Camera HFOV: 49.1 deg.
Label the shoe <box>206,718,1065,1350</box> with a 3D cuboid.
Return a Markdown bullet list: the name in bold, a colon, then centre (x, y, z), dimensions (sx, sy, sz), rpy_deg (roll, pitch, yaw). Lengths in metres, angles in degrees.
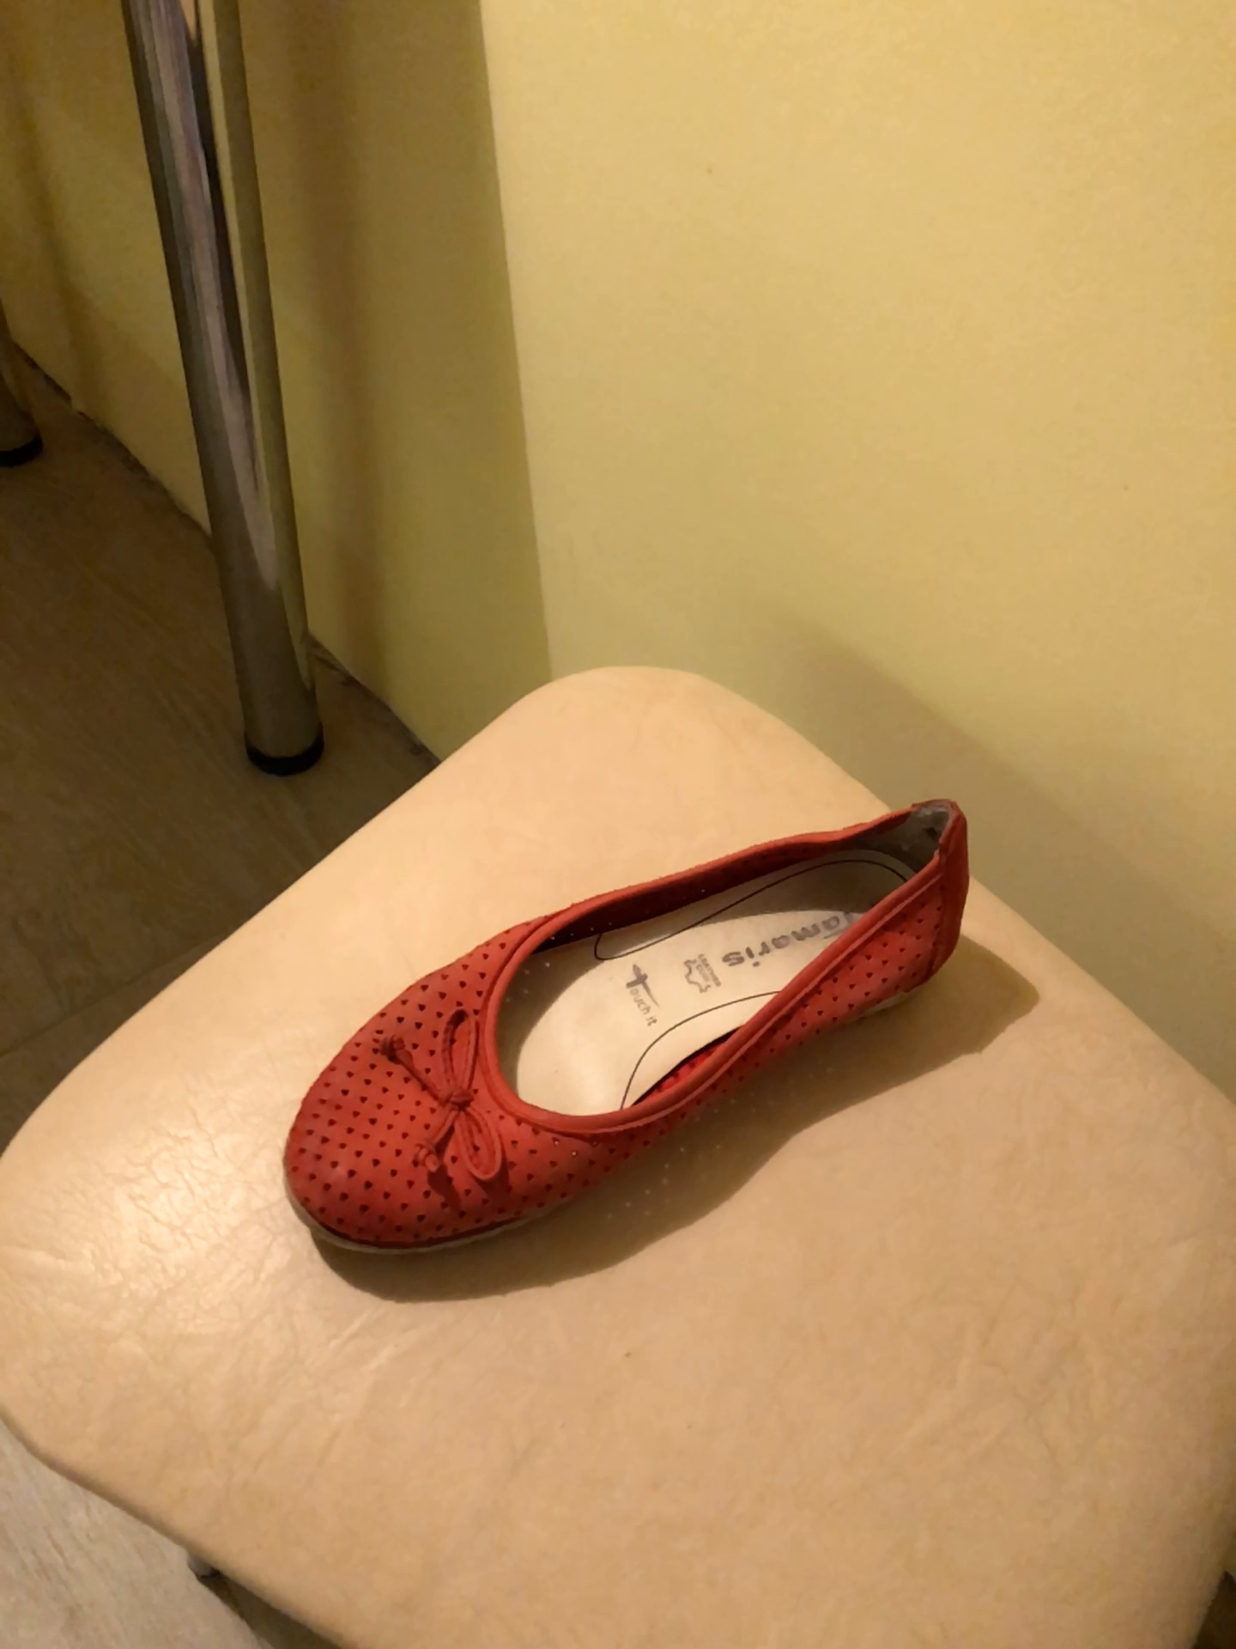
- **shoe**: centre (0.008, 0.059, 0.450), dimensions (0.251, 0.080, 0.100), rpy_deg (-19, 55, -22)
